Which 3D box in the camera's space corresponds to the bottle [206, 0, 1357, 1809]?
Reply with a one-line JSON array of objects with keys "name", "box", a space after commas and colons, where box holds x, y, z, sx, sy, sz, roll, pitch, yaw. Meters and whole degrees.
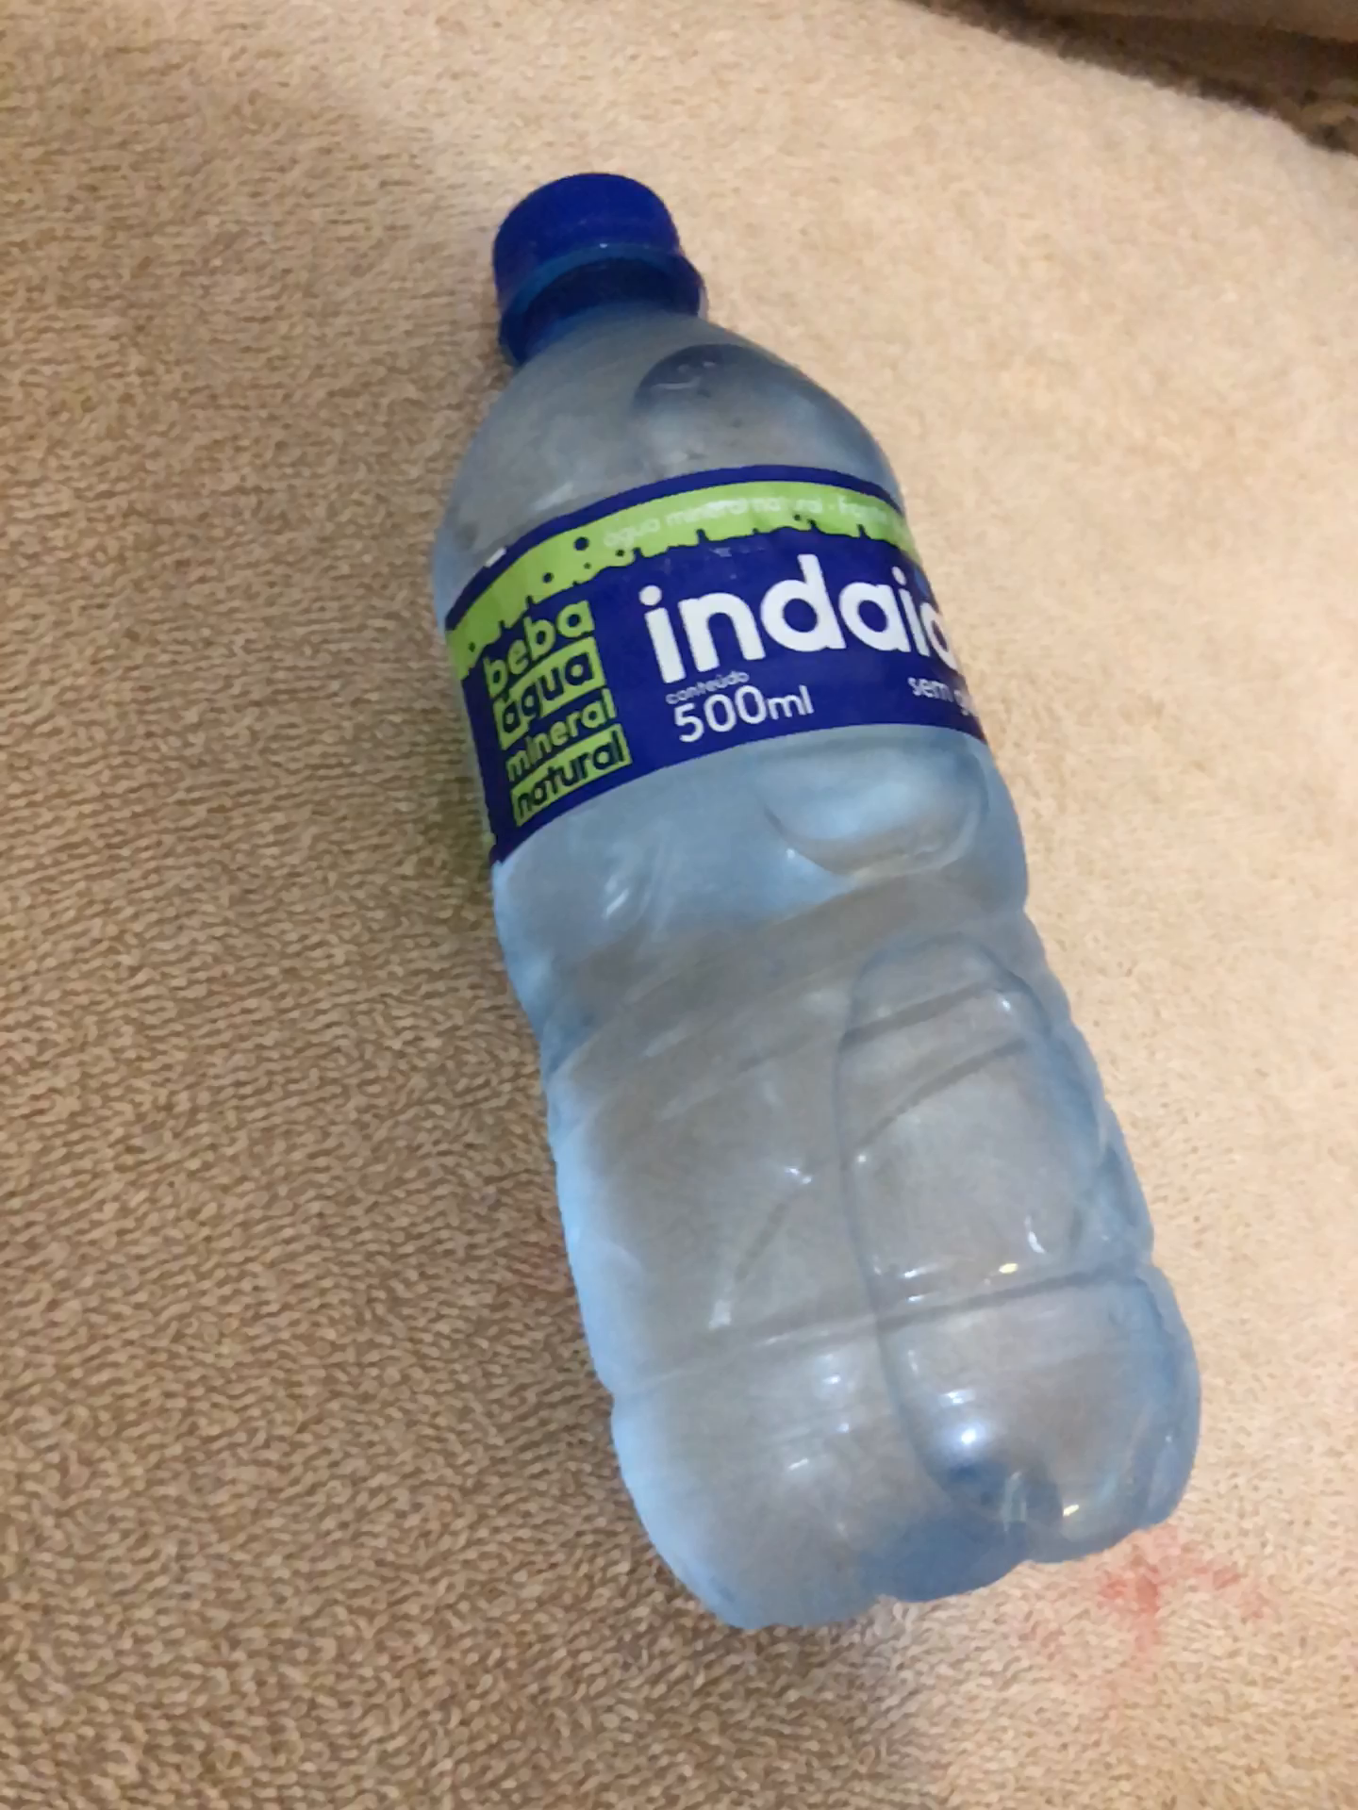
[{"name": "bottle", "box": [0.005, -0.016, 0.191, 0.080, 0.050, 0.210, -7, 68, -29]}]
